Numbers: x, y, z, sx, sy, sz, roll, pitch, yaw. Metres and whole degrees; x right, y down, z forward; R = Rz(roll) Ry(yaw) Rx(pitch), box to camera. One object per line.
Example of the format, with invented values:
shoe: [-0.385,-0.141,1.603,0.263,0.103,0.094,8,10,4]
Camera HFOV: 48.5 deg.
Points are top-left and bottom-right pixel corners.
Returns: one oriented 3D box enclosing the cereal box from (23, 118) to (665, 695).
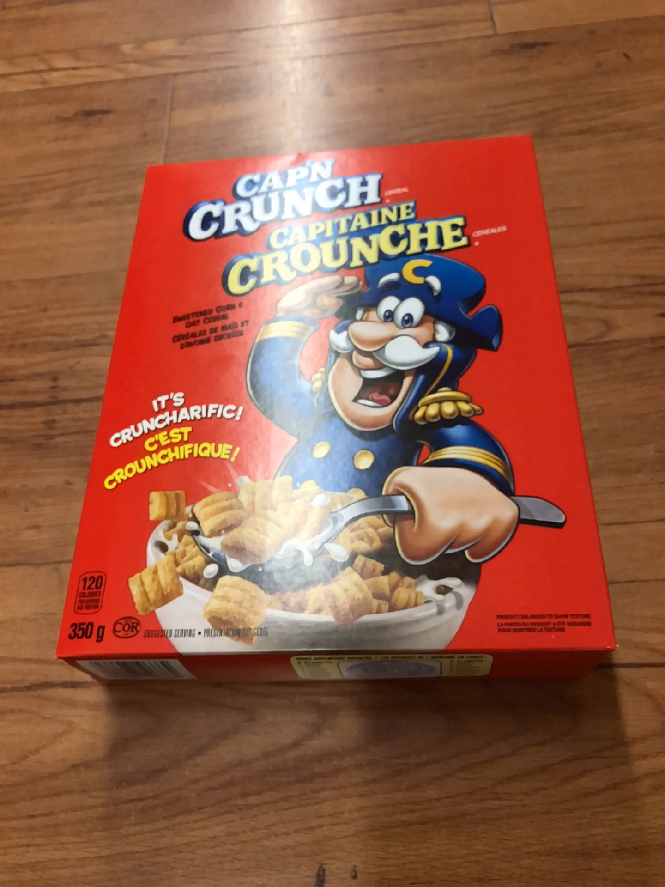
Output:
cereal box: [0.003,-0.027,0.340,0.220,0.060,0.261,-3,61,6]
